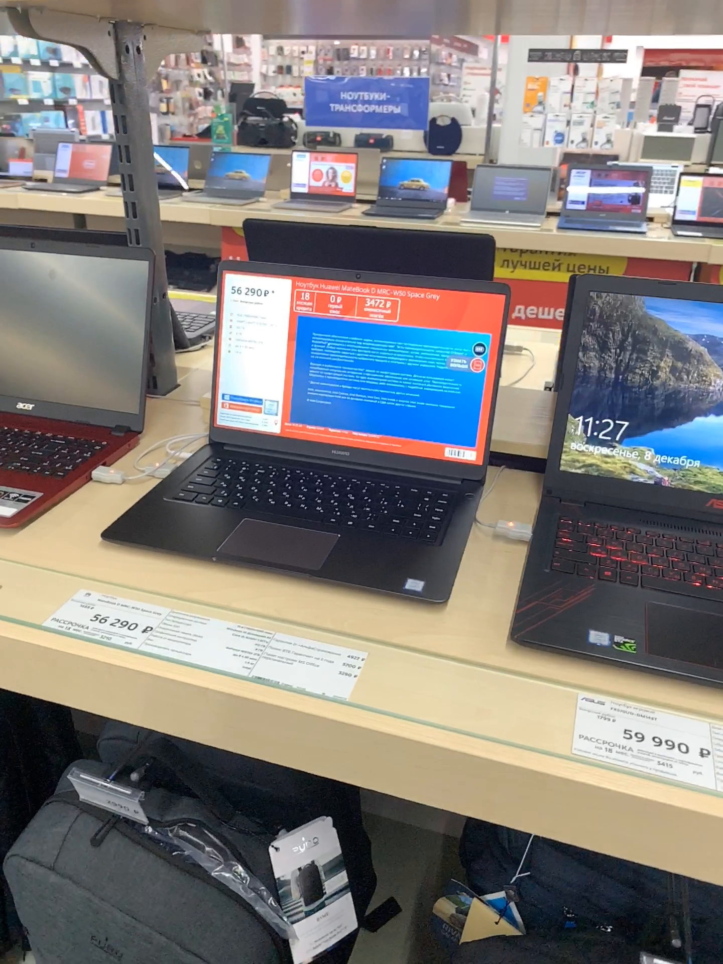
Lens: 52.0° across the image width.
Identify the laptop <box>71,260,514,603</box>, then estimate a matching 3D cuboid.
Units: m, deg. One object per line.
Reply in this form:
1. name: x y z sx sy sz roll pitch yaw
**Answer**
1. laptop: -0.045 -0.082 0.775 0.348 0.209 0.304 9 29 14
